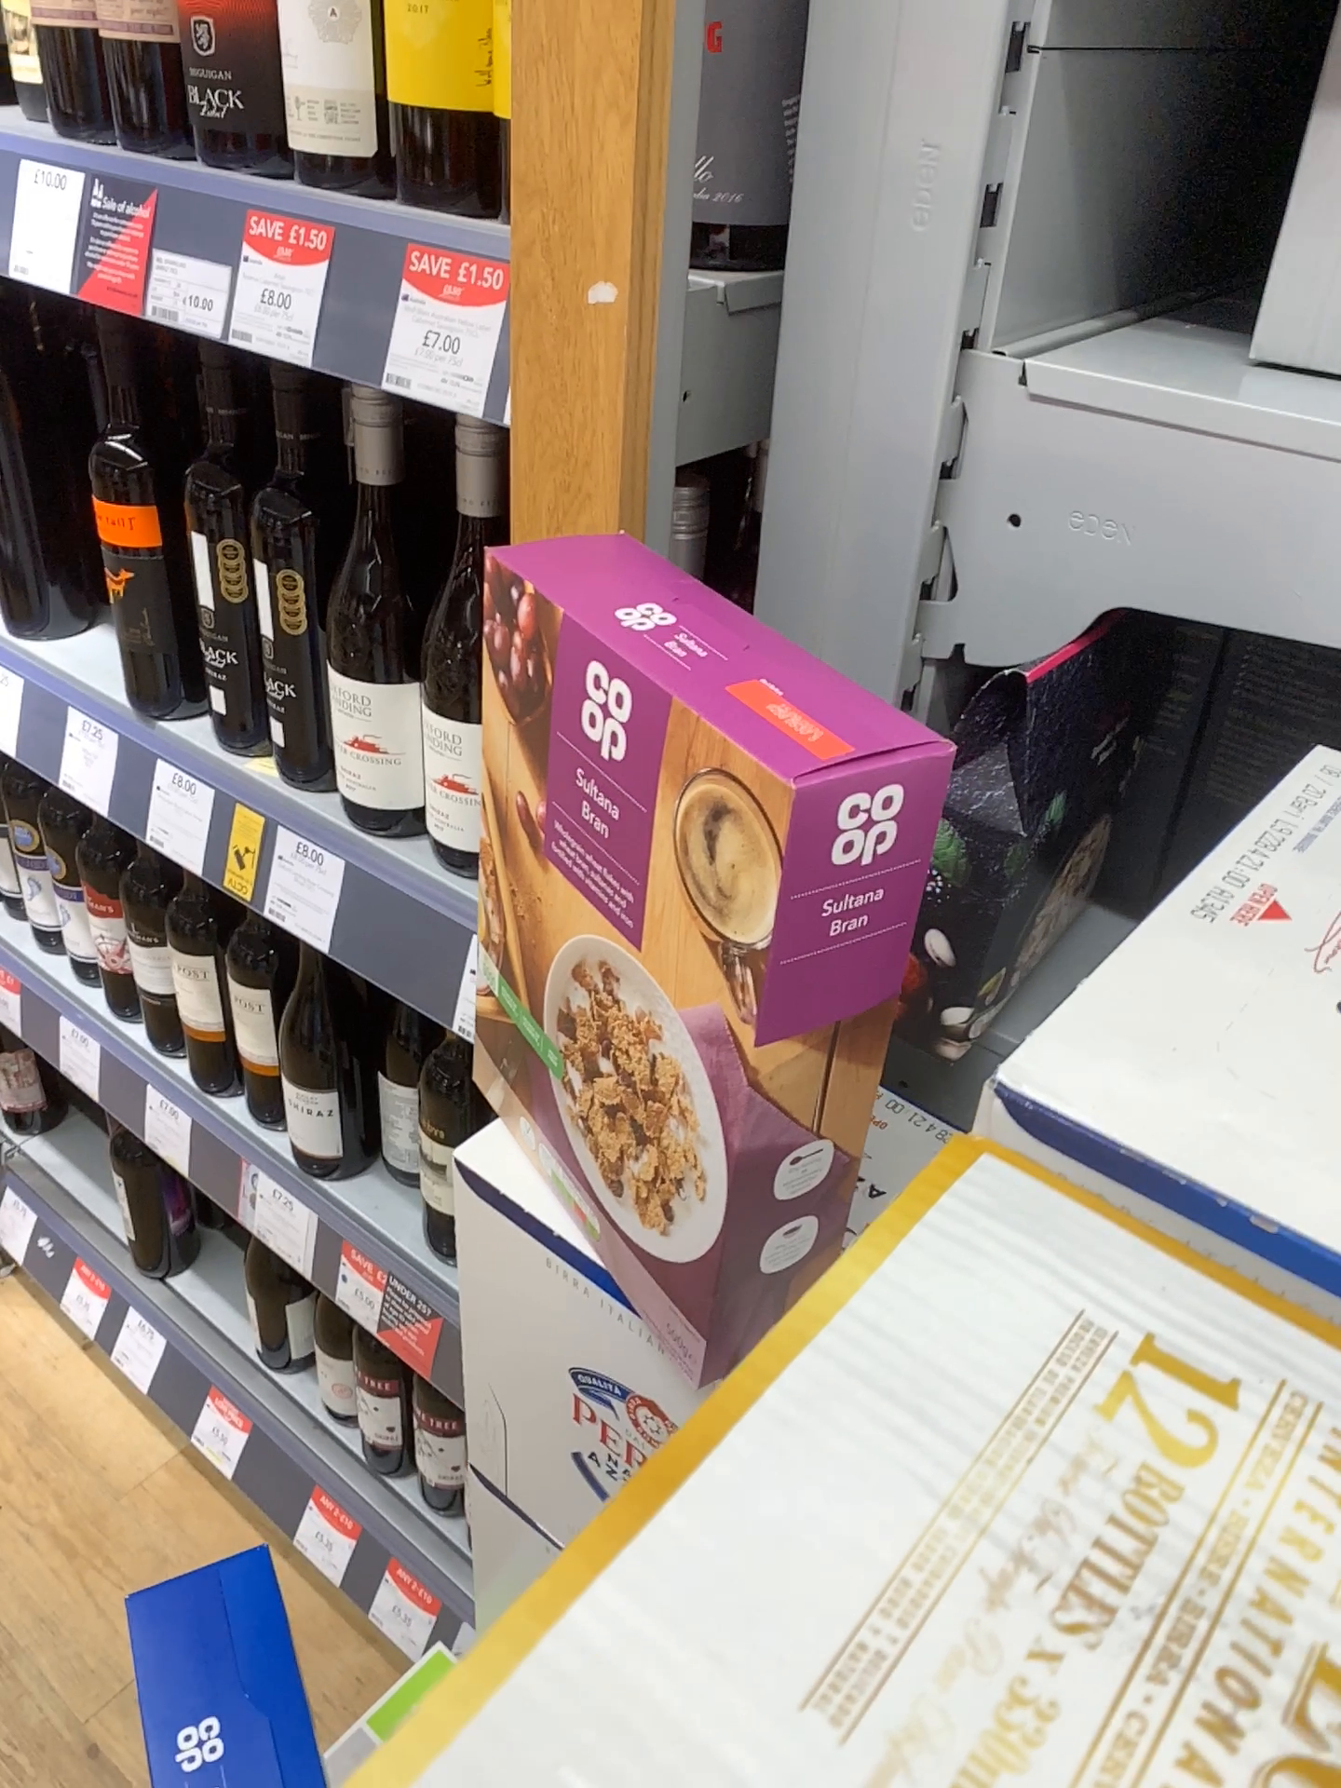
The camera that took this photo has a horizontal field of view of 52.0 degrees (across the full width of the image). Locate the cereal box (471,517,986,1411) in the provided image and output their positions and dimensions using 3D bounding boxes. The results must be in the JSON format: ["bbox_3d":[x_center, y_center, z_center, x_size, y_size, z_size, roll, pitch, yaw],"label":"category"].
[{"bbox_3d":[0.000,0.021,0.515,0.070,0.257,0.202,-15,38,-27],"label":"cereal box"}]
